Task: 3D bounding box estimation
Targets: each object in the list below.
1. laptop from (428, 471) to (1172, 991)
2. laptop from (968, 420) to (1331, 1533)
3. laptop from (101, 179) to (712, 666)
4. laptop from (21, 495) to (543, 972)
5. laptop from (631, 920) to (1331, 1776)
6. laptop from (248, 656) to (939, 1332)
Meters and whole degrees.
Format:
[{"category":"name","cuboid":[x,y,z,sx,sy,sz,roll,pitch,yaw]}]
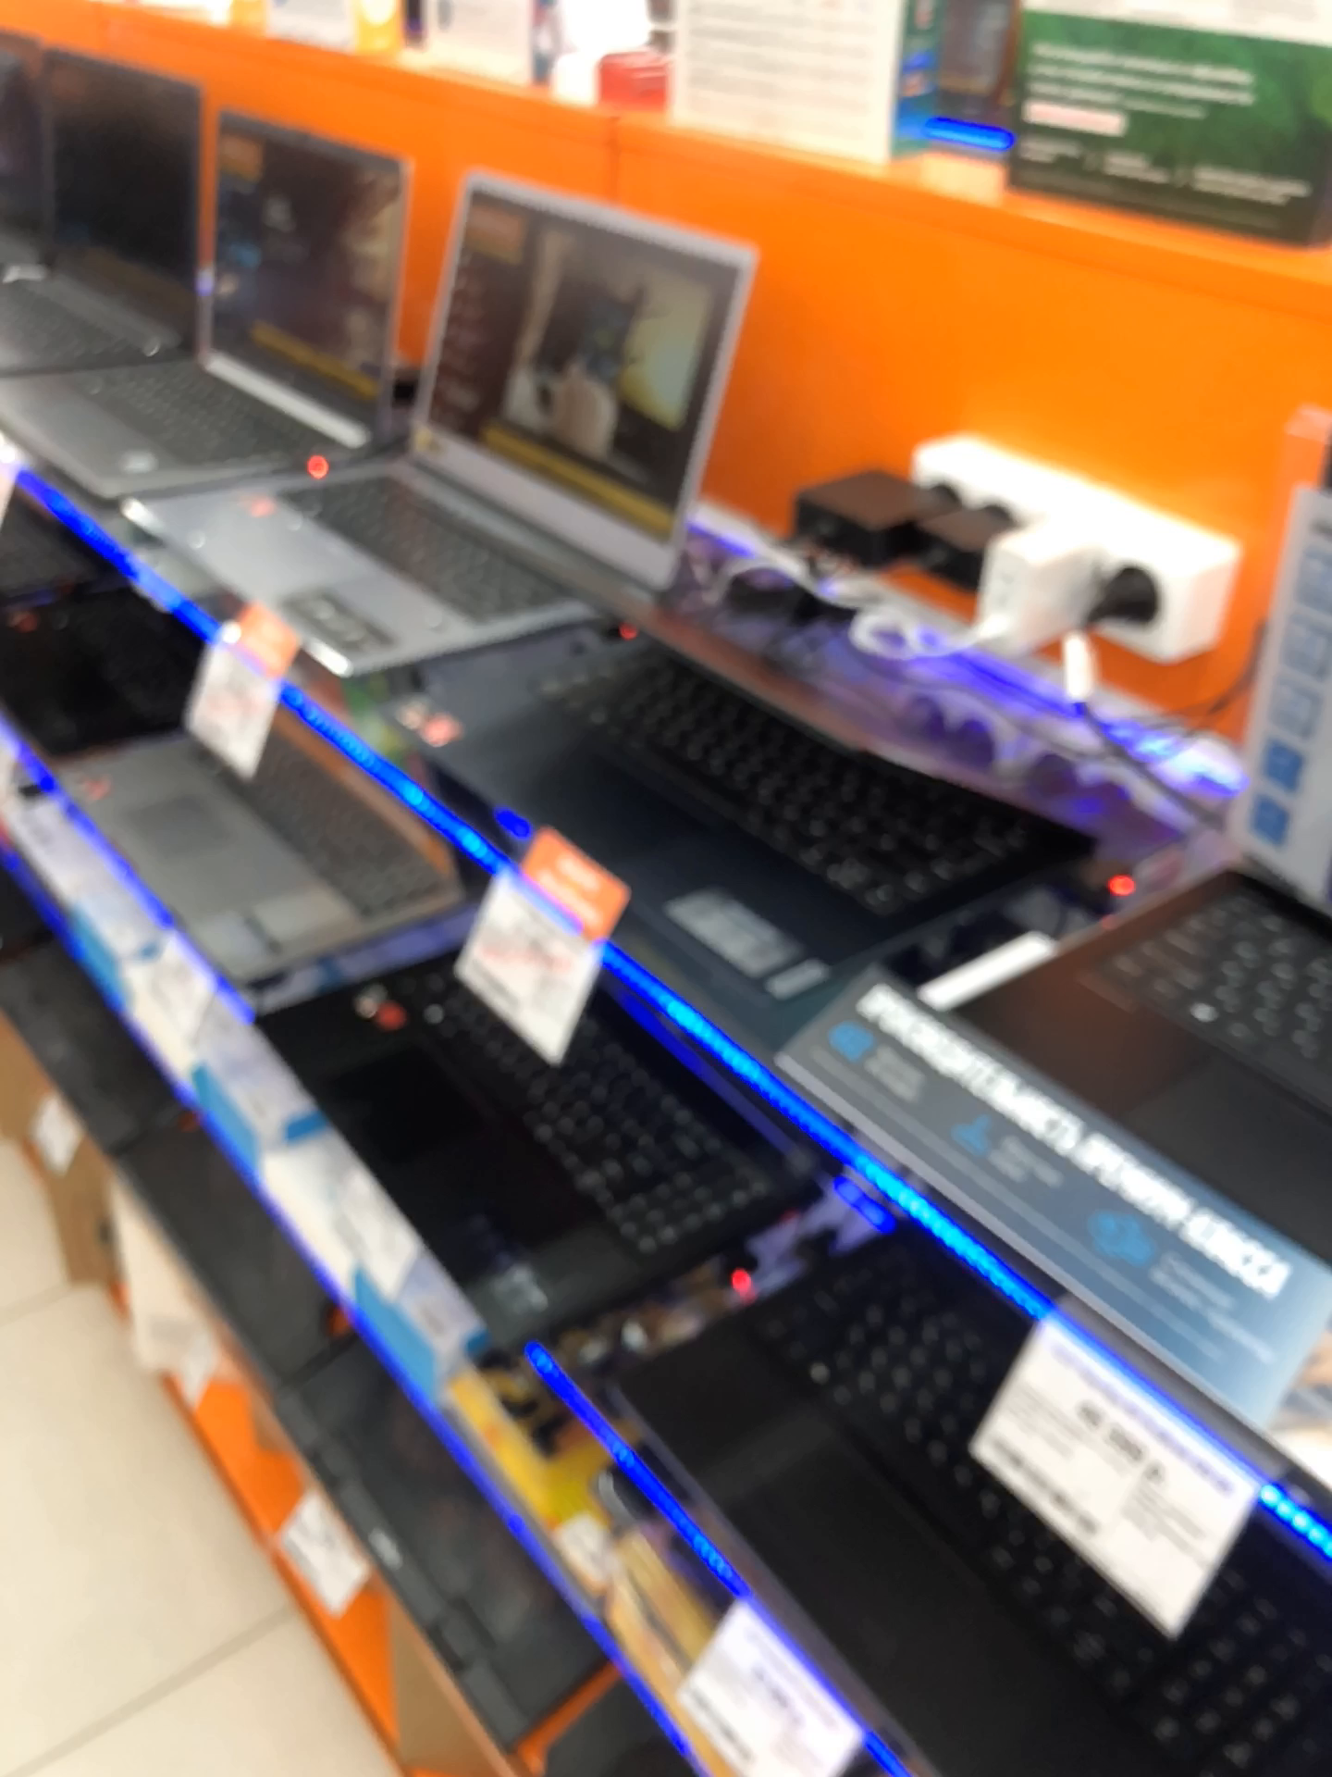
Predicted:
[{"category":"laptop","cuboid":[0.050,-0.100,0.740,0.212,0.106,0.300,-19,38,-32]},{"category":"laptop","cuboid":[0.320,-0.007,0.504,0.228,0.213,0.307,-18,37,-32]},{"category":"laptop","cuboid":[-0.170,-0.313,0.958,0.225,0.203,0.316,-20,39,-33]},{"category":"laptop","cuboid":[-0.305,-0.141,1.200,0.235,0.207,0.349,-21,41,-34]},{"category":"laptop","cuboid":[0.183,0.214,0.691,0.226,0.215,0.354,-18,37,-31]},{"category":"laptop","cuboid":[-0.062,0.040,0.940,0.246,0.230,0.343,-17,37,-30]}]
